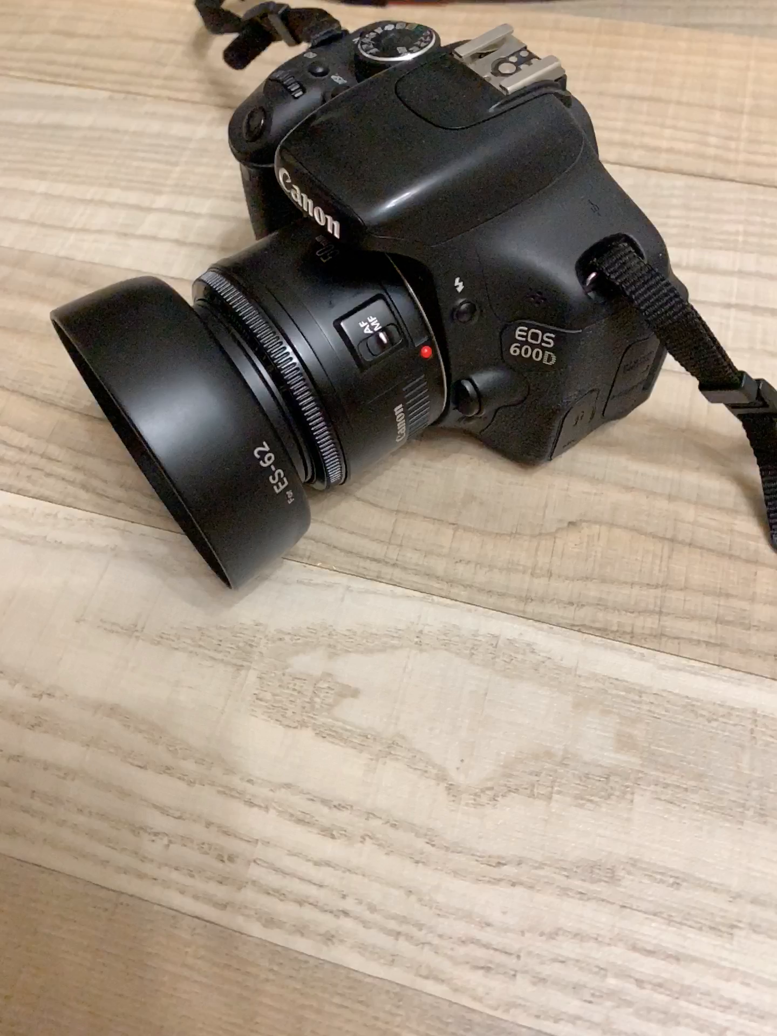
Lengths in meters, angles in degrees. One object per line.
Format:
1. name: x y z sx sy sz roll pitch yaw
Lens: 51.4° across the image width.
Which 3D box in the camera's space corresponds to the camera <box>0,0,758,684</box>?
1. camera: -0.019 -0.065 0.224 0.150 0.090 0.139 -34 65 -14
